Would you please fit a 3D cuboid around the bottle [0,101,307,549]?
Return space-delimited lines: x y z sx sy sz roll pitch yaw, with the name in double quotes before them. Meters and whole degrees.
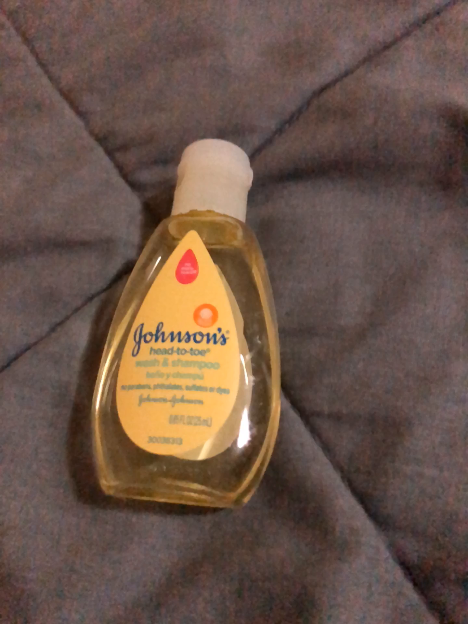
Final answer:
"bottle" -0.013 -0.002 0.113 0.050 0.020 0.090 1 65 13
